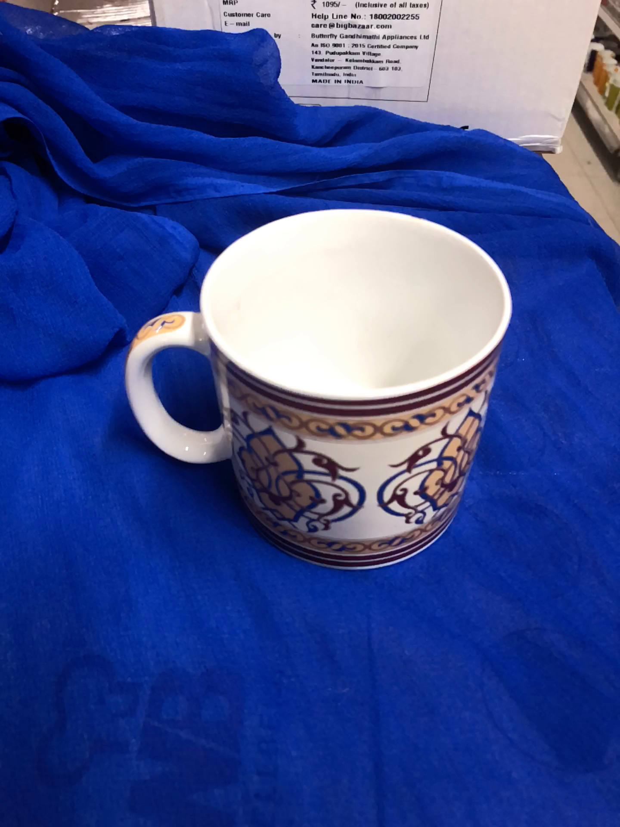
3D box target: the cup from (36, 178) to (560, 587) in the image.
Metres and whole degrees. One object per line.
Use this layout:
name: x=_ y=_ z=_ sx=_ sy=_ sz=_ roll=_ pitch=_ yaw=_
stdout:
cup: x=-0.003 y=-0.008 z=0.201 sx=0.110 sy=0.080 sz=0.080 roll=3 pitch=47 yaw=-1
